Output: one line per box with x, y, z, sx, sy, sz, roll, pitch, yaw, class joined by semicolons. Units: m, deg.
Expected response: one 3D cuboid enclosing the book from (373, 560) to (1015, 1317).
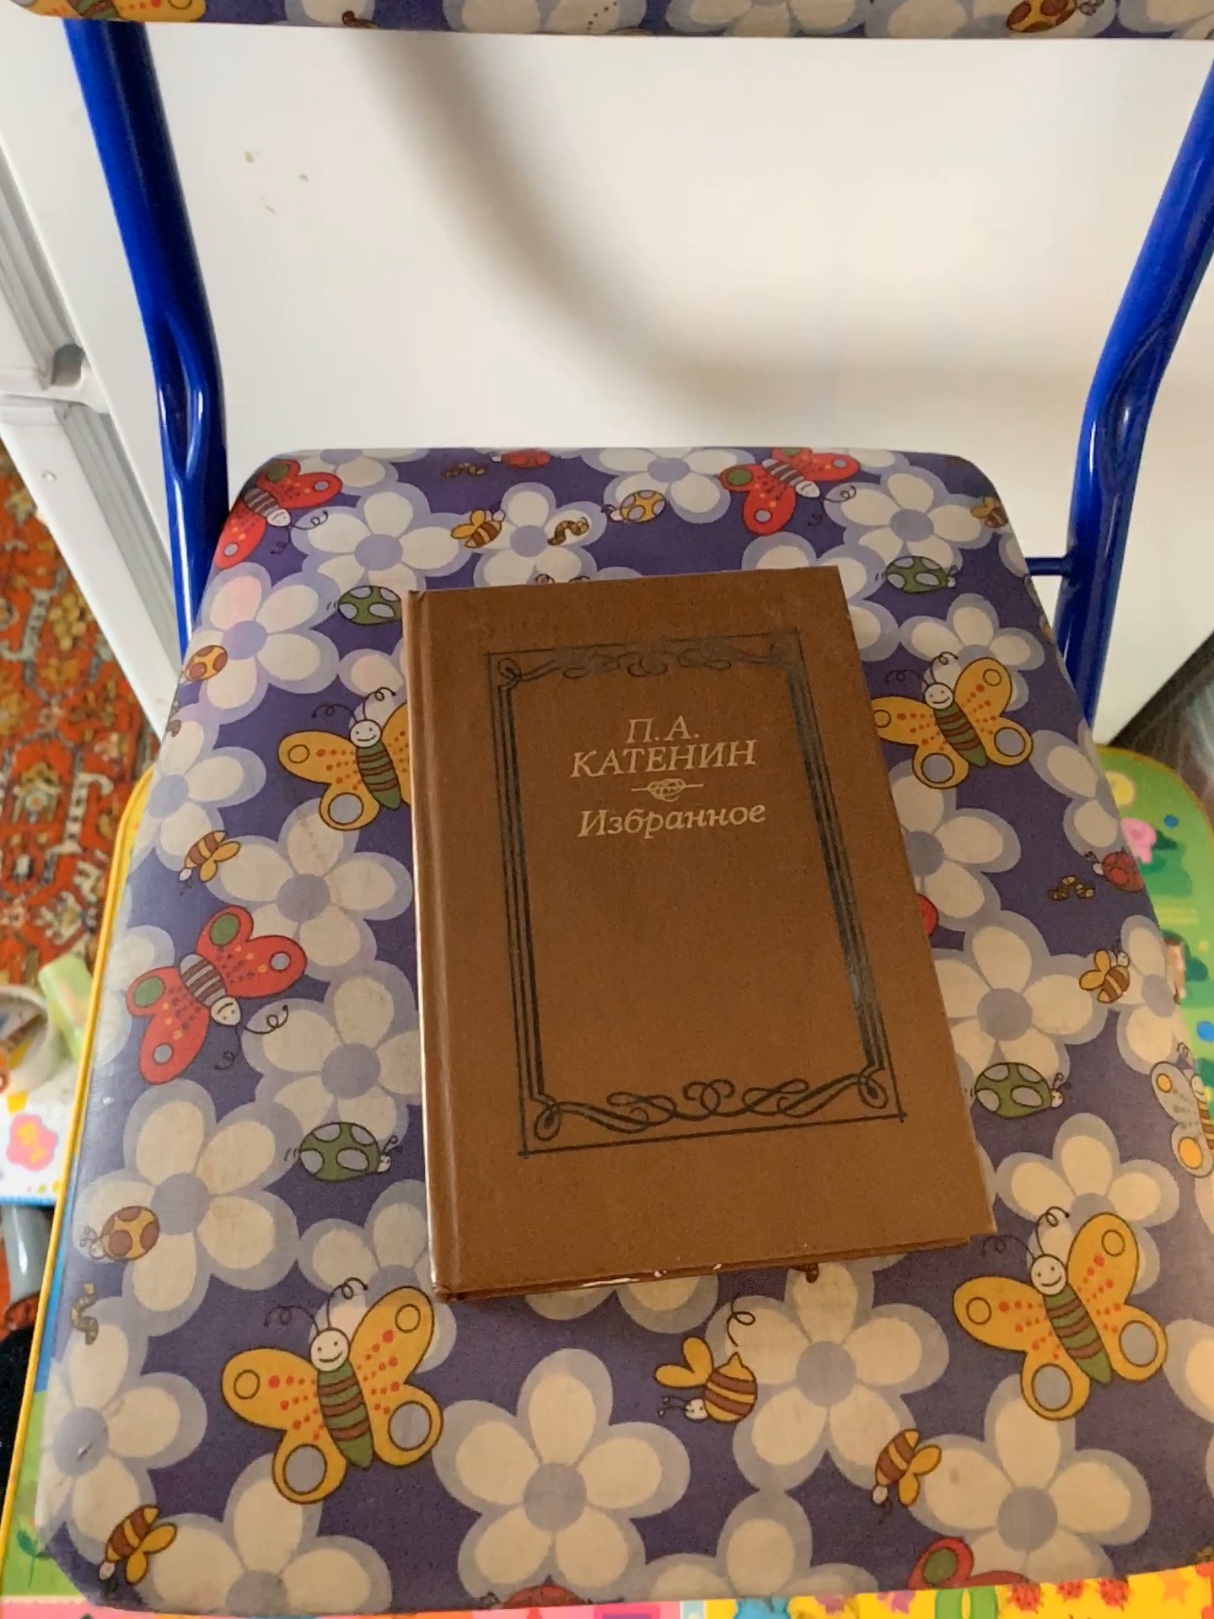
0.011;0.020;0.296;0.124;0.020;0.171;-5;64;-5;book
